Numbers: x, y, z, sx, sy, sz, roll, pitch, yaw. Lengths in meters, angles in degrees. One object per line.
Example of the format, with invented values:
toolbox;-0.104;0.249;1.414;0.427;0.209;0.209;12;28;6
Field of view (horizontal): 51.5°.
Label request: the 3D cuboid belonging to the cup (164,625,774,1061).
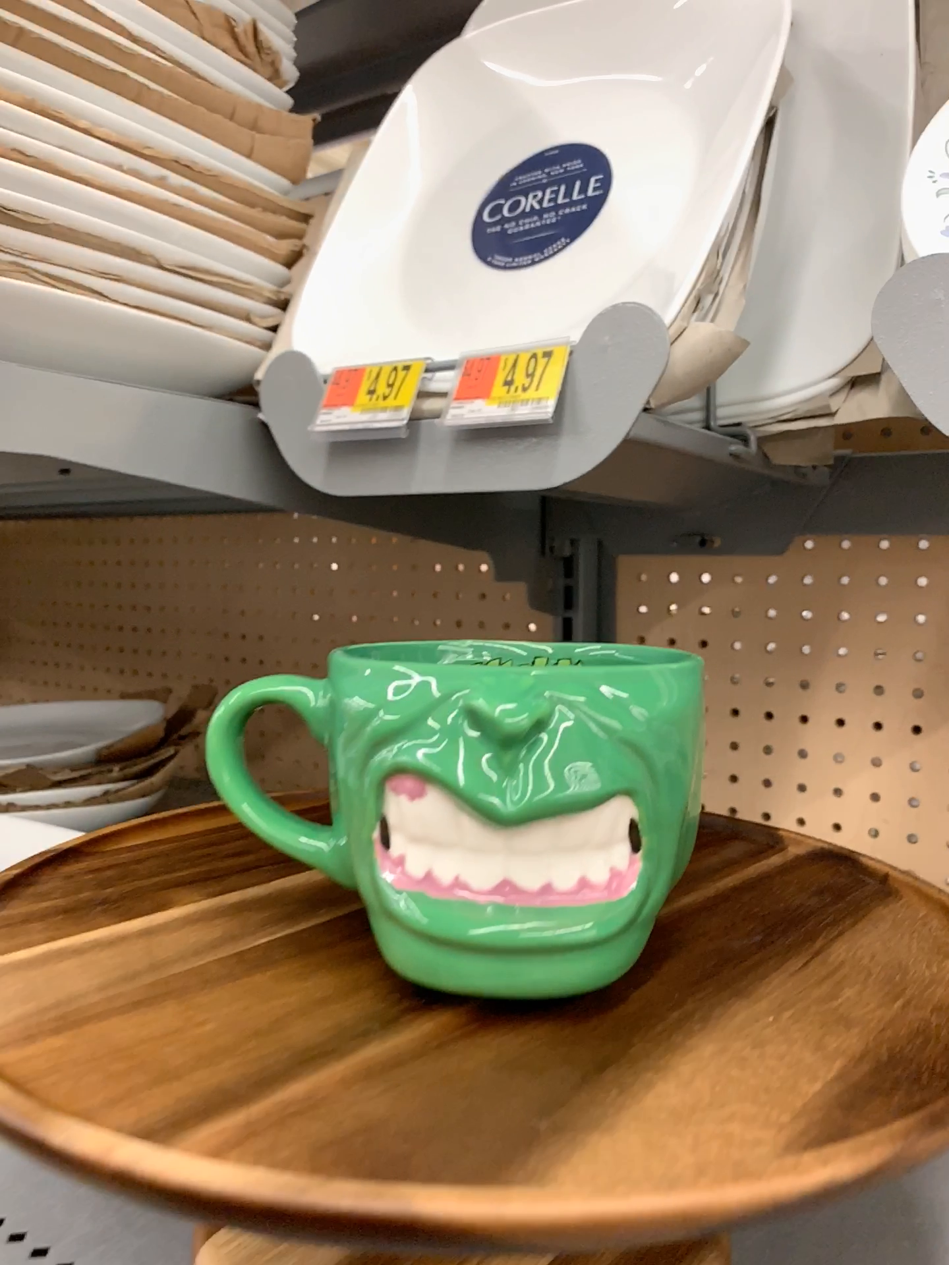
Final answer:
cup;0.002;0.048;0.292;0.140;0.090;0.130;0;4;0
